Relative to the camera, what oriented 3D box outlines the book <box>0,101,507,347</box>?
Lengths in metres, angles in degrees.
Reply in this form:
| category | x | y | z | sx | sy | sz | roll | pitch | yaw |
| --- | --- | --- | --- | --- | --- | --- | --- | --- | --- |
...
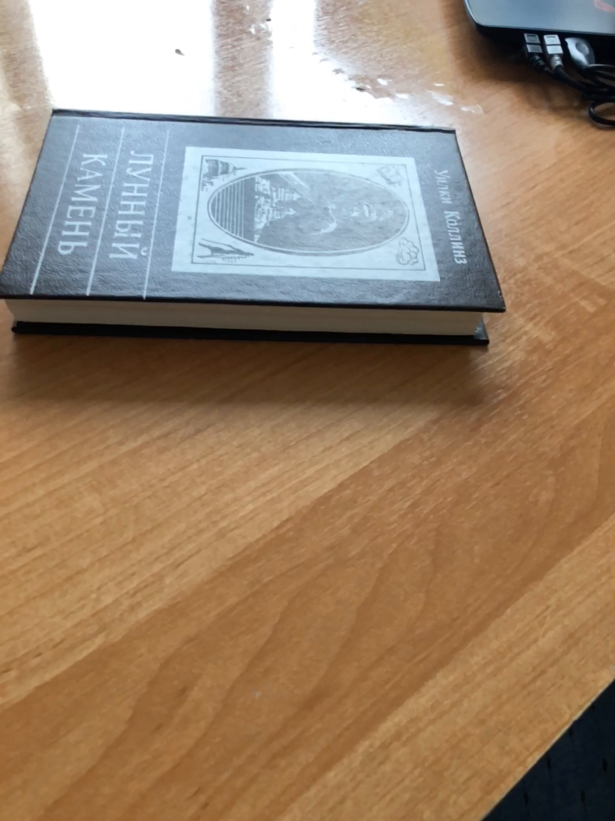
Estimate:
| category | x | y | z | sx | sy | sz | roll | pitch | yaw |
| --- | --- | --- | --- | --- | --- | --- | --- | --- | --- |
| book | -0.023 | -0.090 | 0.316 | 0.199 | 0.032 | 0.134 | 0 | 52 | -3 |
